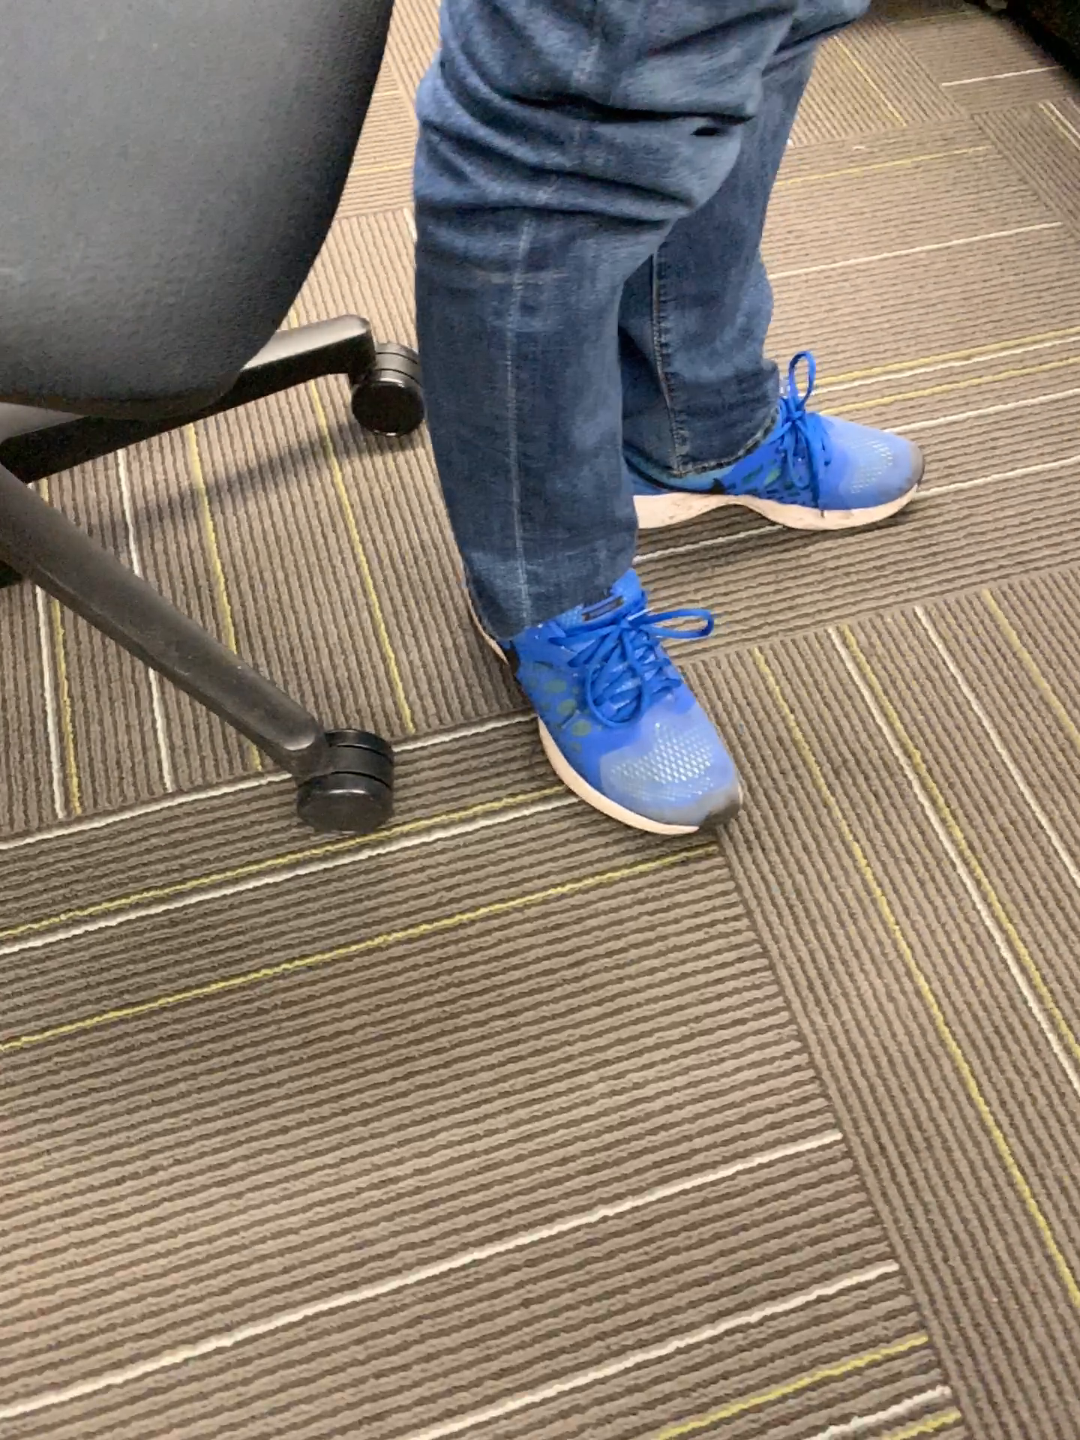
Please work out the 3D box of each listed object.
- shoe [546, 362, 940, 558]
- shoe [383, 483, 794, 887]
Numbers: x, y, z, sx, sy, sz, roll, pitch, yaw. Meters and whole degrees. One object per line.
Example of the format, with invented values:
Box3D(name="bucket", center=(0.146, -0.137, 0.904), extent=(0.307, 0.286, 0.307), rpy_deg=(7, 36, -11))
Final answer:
Box3D(name="shoe", center=(0.173, -0.225, 0.960), extent=(0.310, 0.088, 0.142), rpy_deg=(2, 57, 11))
Box3D(name="shoe", center=(0.025, -0.042, 0.847), extent=(0.119, 0.088, 0.339), rpy_deg=(-31, 54, -20))
